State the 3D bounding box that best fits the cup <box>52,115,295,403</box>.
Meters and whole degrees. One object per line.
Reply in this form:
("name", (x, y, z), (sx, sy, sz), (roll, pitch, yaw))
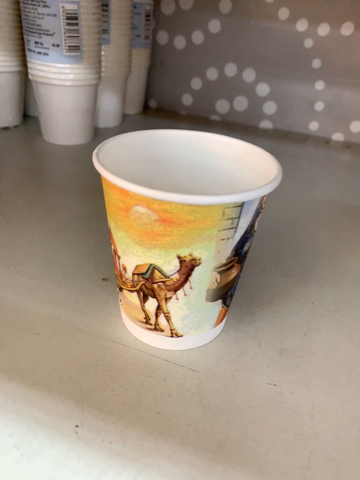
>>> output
("cup", (0.001, 0.002, 0.156), (0.070, 0.079, 0.071), (5, 31, -3))
